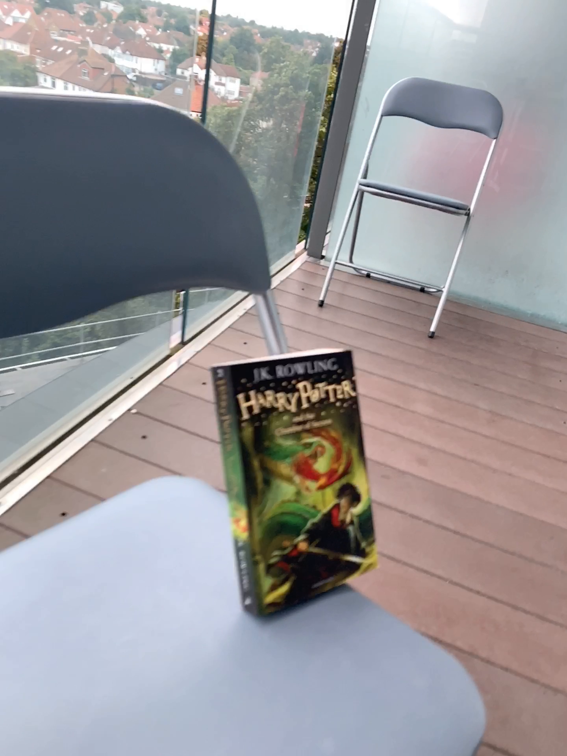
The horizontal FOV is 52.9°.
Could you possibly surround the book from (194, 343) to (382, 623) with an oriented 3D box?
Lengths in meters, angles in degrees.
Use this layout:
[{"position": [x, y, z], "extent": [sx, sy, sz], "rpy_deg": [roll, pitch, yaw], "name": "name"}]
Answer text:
[{"position": [0.009, 0.079, 0.485], "extent": [0.141, 0.200, 0.040], "rpy_deg": [-10, 6, -33], "name": "book"}]
